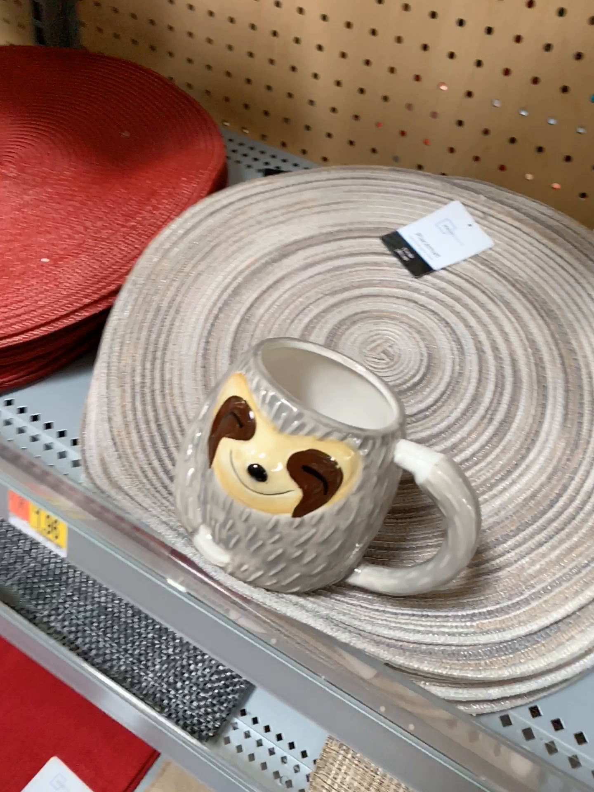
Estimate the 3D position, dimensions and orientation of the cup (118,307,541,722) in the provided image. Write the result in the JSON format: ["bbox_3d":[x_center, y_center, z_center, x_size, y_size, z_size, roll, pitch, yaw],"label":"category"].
[{"bbox_3d":[0.018,0.042,0.287,0.150,0.089,0.106,28,30,12],"label":"cup"}]
